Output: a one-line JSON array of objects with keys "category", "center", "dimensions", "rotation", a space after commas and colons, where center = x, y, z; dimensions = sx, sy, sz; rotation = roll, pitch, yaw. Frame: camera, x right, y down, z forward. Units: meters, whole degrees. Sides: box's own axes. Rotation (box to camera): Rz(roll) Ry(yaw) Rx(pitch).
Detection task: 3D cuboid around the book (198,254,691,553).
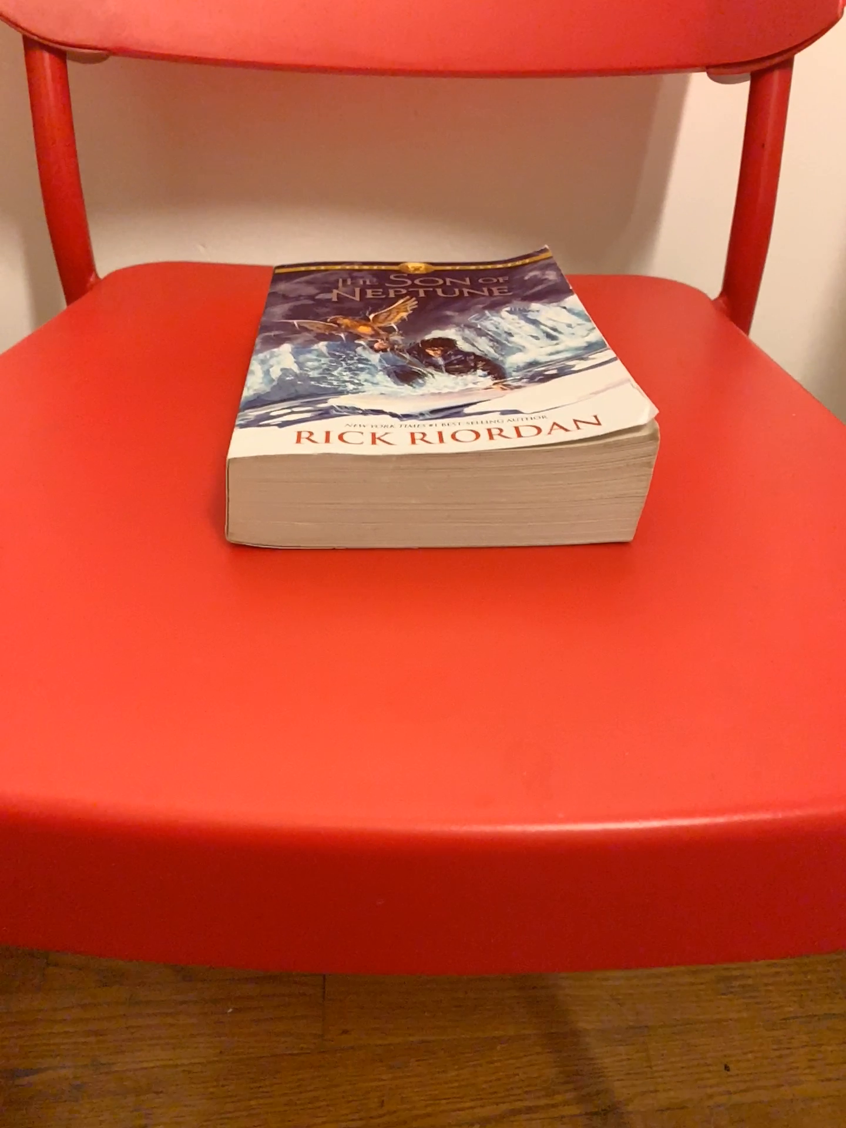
[{"category": "book", "center": [0.001, -0.073, 0.339], "dimensions": [0.142, 0.040, 0.189], "rotation": [0, 34, -4]}]
